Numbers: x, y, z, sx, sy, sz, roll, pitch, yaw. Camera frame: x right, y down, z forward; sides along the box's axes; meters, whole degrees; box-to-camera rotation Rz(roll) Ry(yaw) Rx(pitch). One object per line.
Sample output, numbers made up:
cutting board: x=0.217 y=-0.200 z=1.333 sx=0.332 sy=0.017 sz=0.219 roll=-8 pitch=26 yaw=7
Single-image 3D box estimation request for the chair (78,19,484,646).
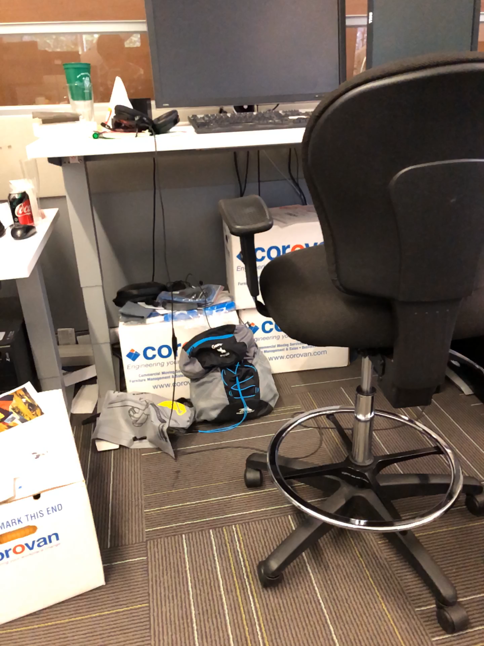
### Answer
chair: x=0.194 y=-0.013 z=1.248 sx=0.890 sy=1.104 sz=0.965 roll=-7 pitch=24 yaw=-11
